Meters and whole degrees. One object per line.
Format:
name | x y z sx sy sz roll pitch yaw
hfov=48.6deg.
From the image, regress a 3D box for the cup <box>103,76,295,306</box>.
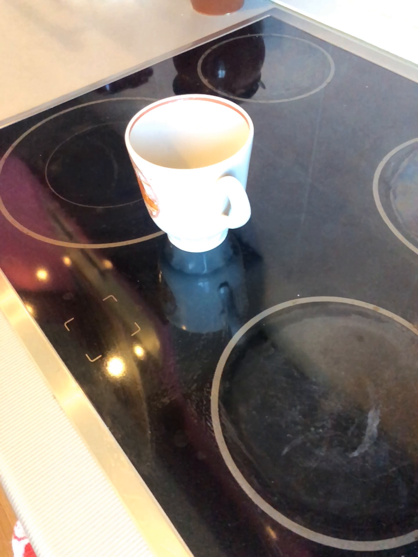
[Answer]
cup | -0.011 -0.065 0.333 0.090 0.090 0.120 -16 53 -11
